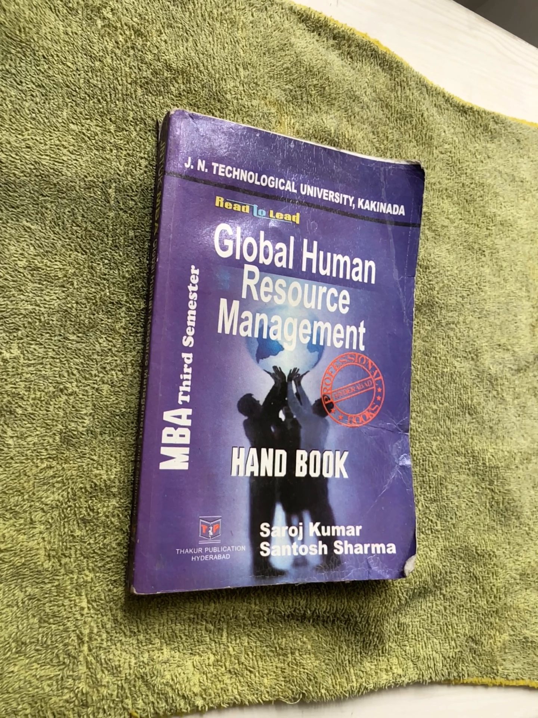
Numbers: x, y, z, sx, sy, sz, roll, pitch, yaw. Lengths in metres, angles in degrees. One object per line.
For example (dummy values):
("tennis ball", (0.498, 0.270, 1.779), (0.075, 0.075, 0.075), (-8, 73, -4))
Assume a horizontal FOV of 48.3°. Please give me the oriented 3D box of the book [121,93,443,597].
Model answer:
("book", (0.012, -0.002, 0.283), (0.140, 0.040, 0.200), (5, 83, -24))
